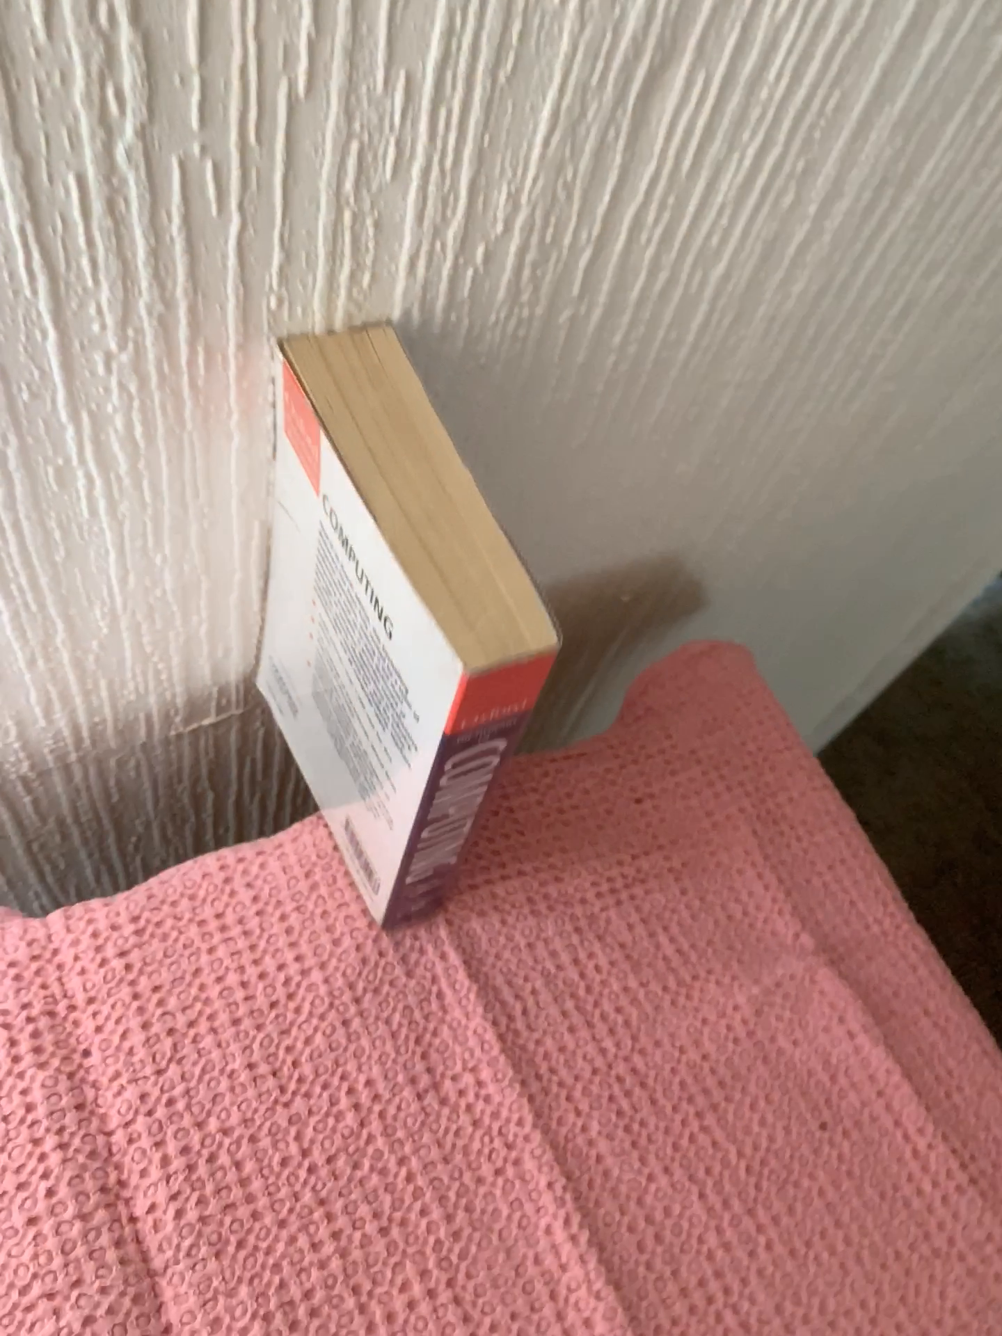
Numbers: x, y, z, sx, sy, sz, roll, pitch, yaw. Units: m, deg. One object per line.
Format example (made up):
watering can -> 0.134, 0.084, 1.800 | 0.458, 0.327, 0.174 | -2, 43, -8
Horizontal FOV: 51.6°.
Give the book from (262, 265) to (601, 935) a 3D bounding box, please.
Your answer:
book -> -0.041, -0.011, 0.365 | 0.040, 0.188, 0.151 | -15, 63, -22
